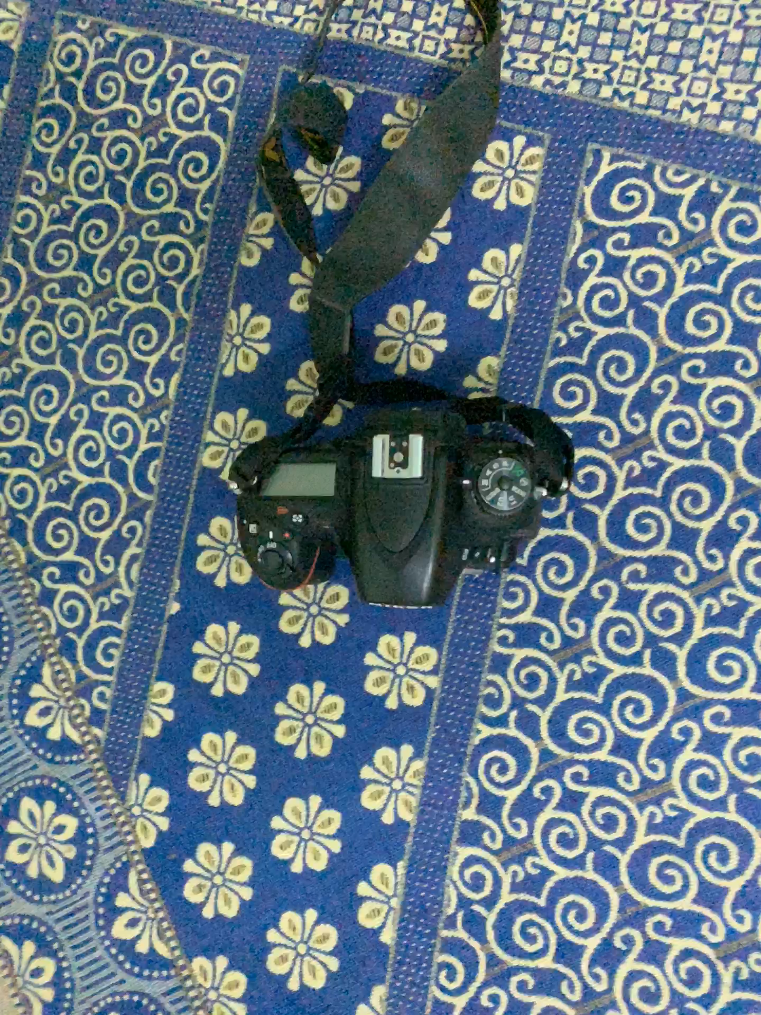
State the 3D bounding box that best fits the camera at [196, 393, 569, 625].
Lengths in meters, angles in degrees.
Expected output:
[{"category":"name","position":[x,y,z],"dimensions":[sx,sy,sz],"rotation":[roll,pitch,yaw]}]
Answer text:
[{"category":"camera","position":[0.006,0.005,0.354],"dimensions":[0.150,0.090,0.088],"rotation":[-1,86,13]}]
